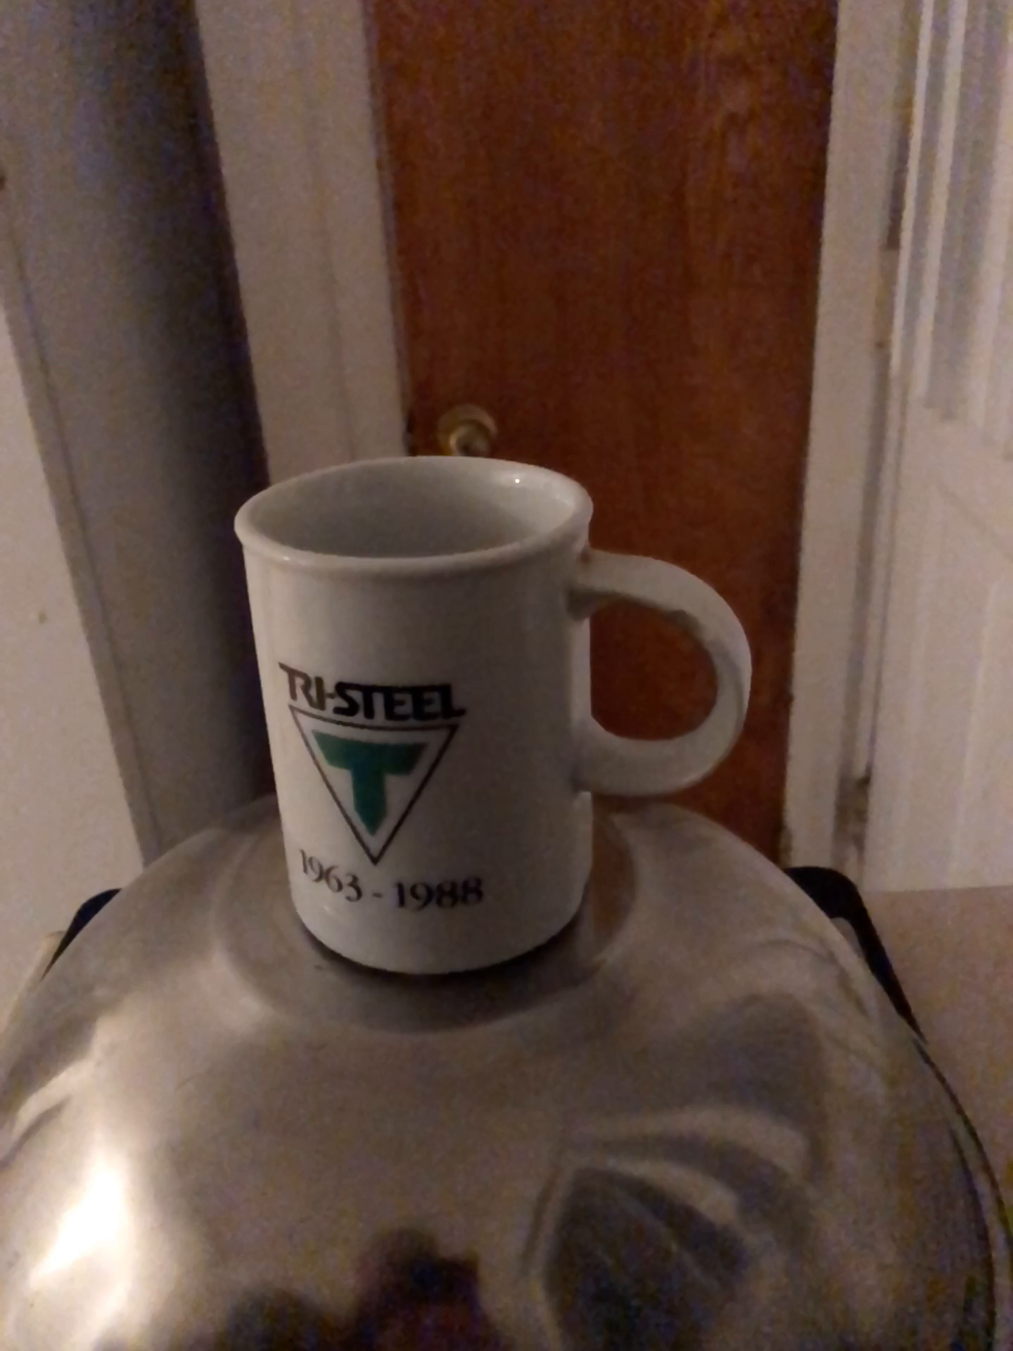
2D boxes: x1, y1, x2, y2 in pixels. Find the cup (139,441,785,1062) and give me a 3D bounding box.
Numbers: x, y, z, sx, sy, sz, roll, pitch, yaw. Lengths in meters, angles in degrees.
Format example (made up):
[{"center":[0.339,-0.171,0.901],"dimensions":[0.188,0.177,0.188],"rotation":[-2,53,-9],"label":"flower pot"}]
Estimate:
[{"center":[-0.006,0.009,0.257],"dimensions":[0.116,0.099,0.070],"rotation":[10,30,25],"label":"cup"}]
